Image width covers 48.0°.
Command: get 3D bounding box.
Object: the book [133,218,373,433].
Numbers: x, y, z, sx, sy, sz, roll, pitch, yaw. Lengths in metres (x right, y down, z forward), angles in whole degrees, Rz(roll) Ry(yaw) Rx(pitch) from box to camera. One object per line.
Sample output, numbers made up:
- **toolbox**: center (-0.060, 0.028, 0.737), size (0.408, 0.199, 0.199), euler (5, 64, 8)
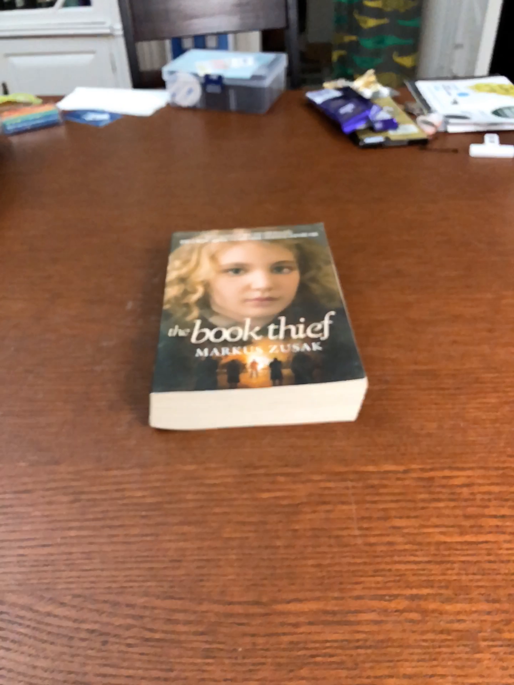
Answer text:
- **book**: center (-0.007, -0.028, 0.455), size (0.150, 0.030, 0.221), euler (-3, 40, -1)
